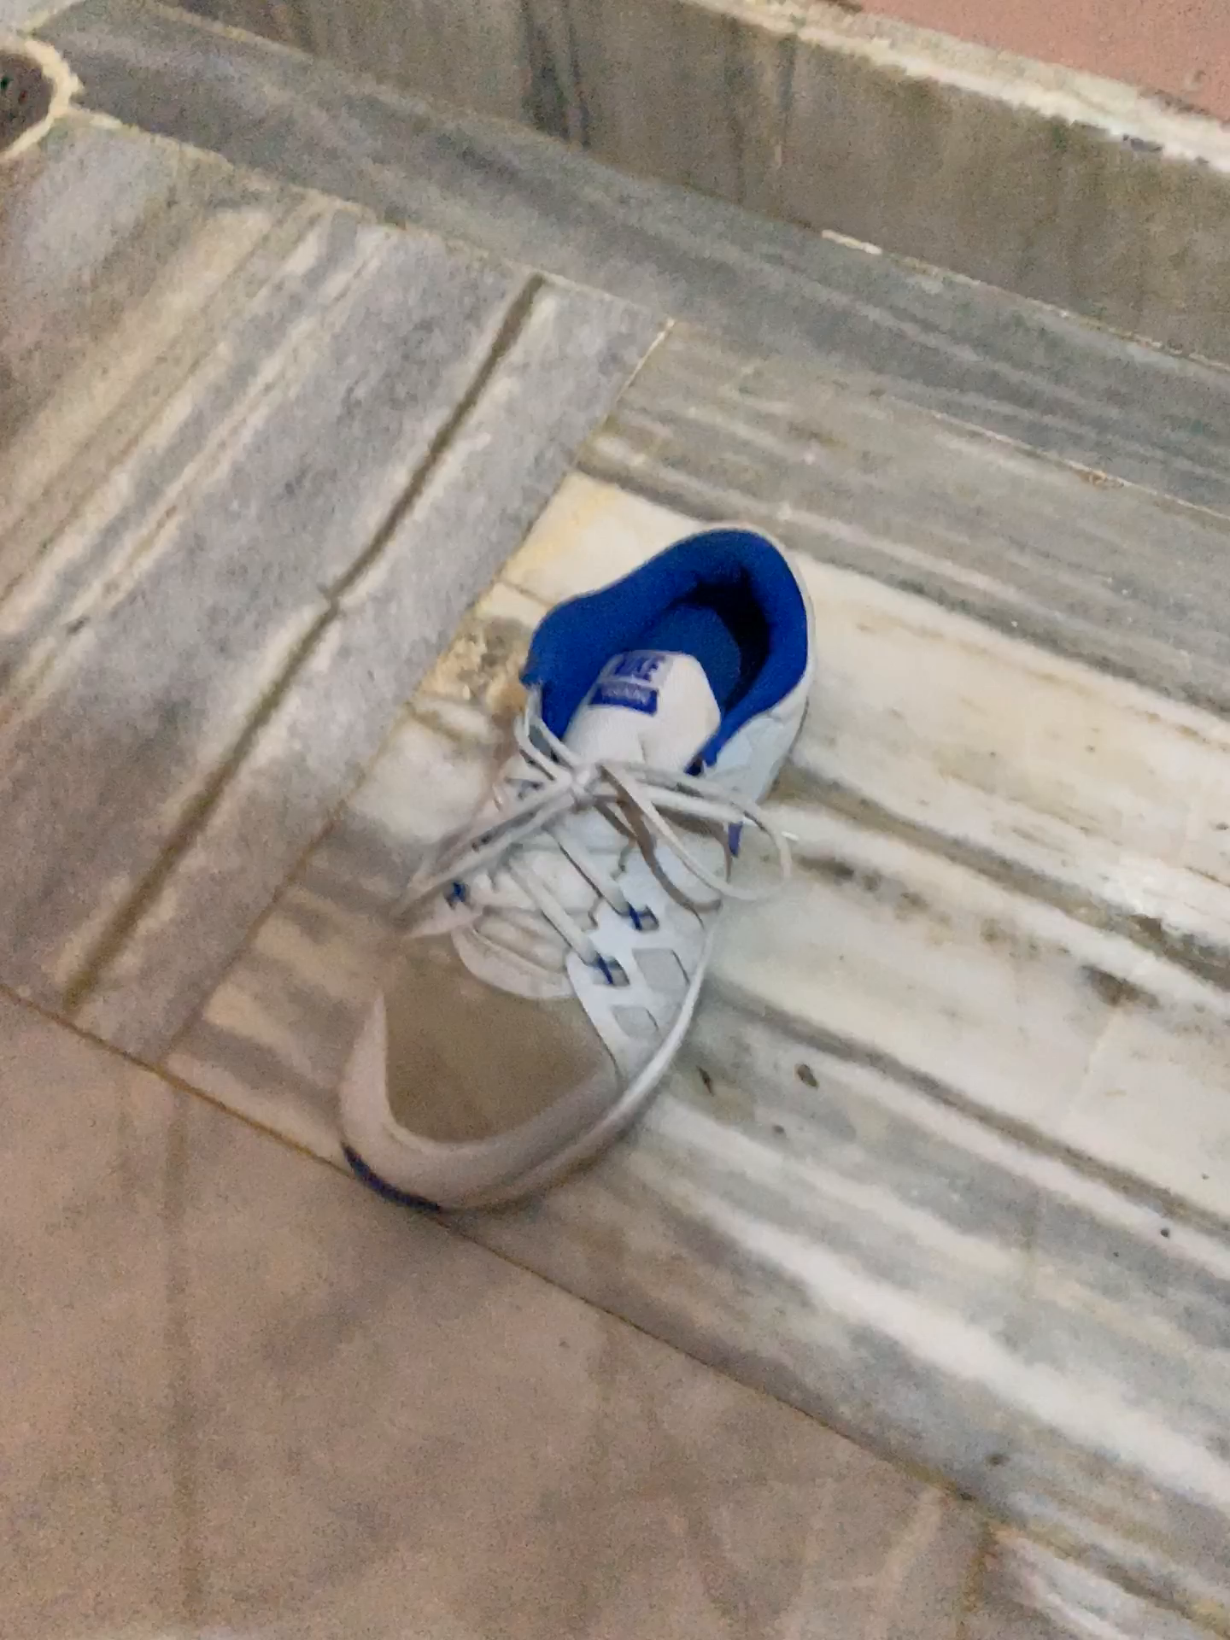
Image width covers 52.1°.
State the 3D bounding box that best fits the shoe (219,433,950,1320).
[{"bbox_3d":[0.003,0.011,0.471,0.116,0.100,0.299,26,65,12],"label":"shoe"}]
